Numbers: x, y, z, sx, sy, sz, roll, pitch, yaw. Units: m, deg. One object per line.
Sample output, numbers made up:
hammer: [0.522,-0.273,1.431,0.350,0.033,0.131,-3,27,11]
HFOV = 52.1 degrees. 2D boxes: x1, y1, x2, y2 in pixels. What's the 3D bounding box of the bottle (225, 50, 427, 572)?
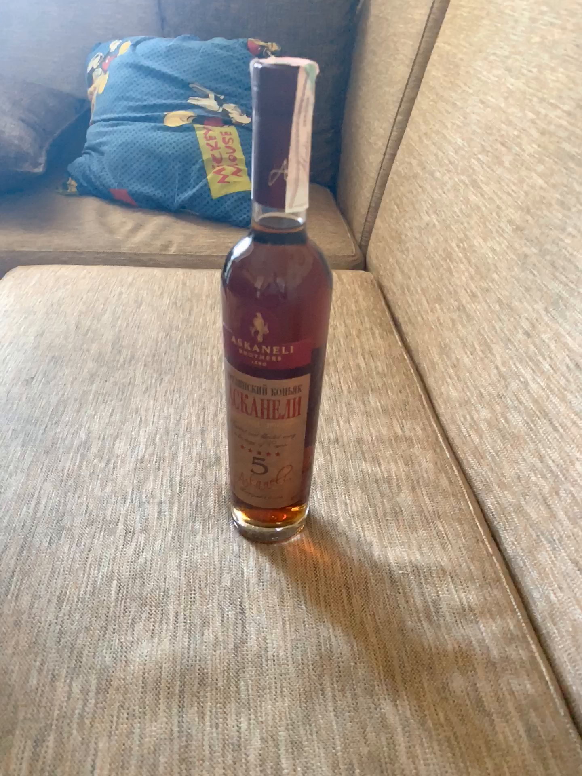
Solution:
bottle: [0.009,-0.024,0.334,0.070,0.279,0.070,3,35,-2]
